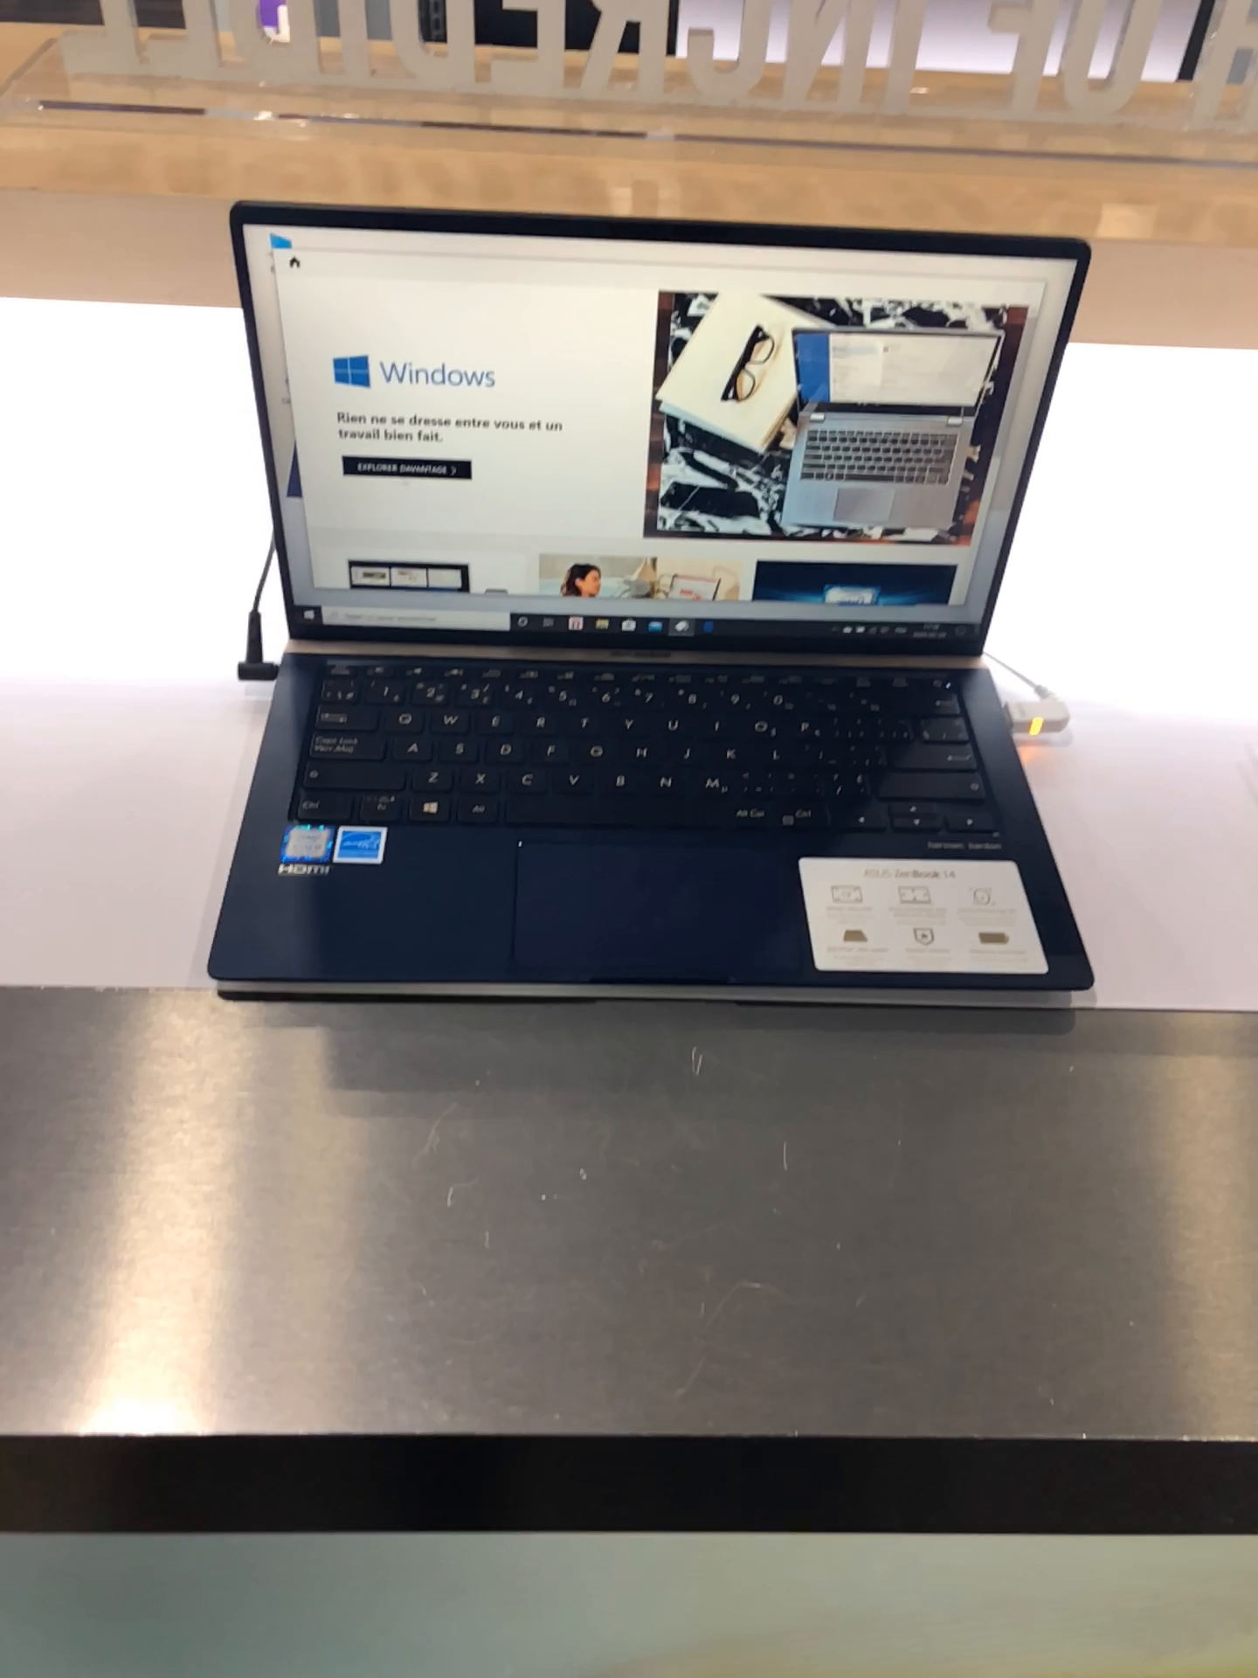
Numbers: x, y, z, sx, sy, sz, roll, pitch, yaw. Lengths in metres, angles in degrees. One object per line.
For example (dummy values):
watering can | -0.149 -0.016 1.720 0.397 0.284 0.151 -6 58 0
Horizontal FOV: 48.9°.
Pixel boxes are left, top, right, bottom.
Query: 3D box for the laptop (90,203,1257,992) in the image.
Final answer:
laptop | 0.013 -0.081 0.474 0.301 0.182 0.192 1 44 -4
